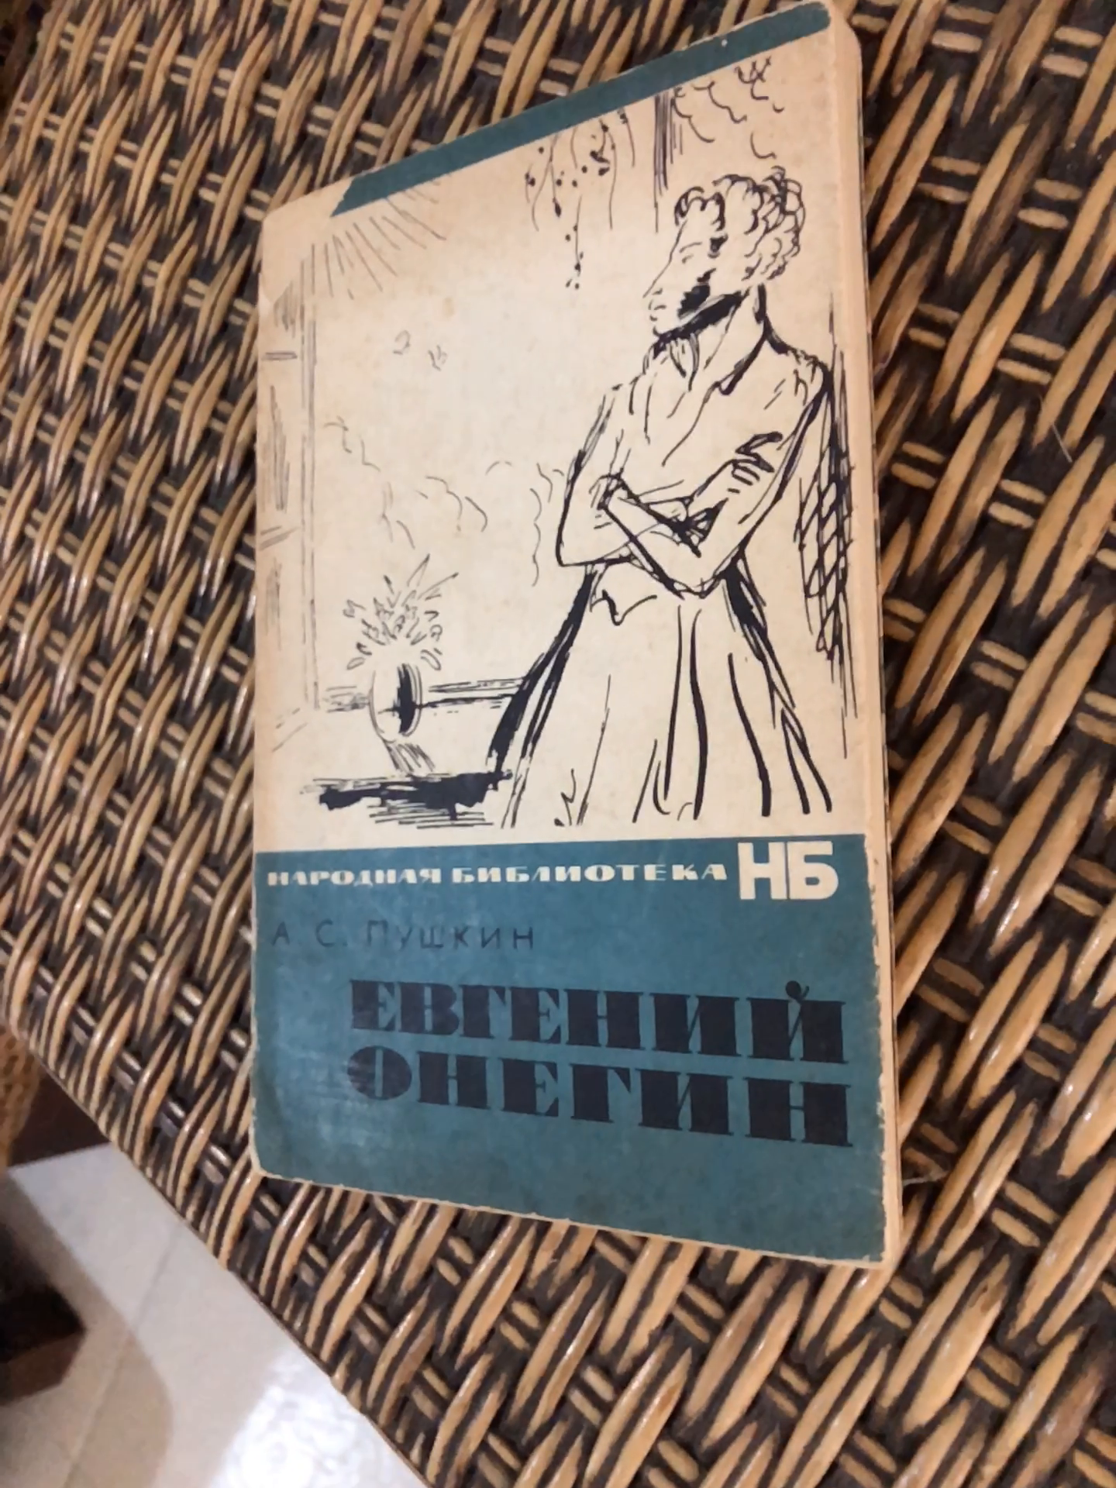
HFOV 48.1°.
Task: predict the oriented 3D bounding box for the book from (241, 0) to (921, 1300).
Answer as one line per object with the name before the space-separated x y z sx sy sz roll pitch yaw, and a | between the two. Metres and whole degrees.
book | -0.004 -0.015 0.217 0.120 0.020 0.190 -4 84 32
